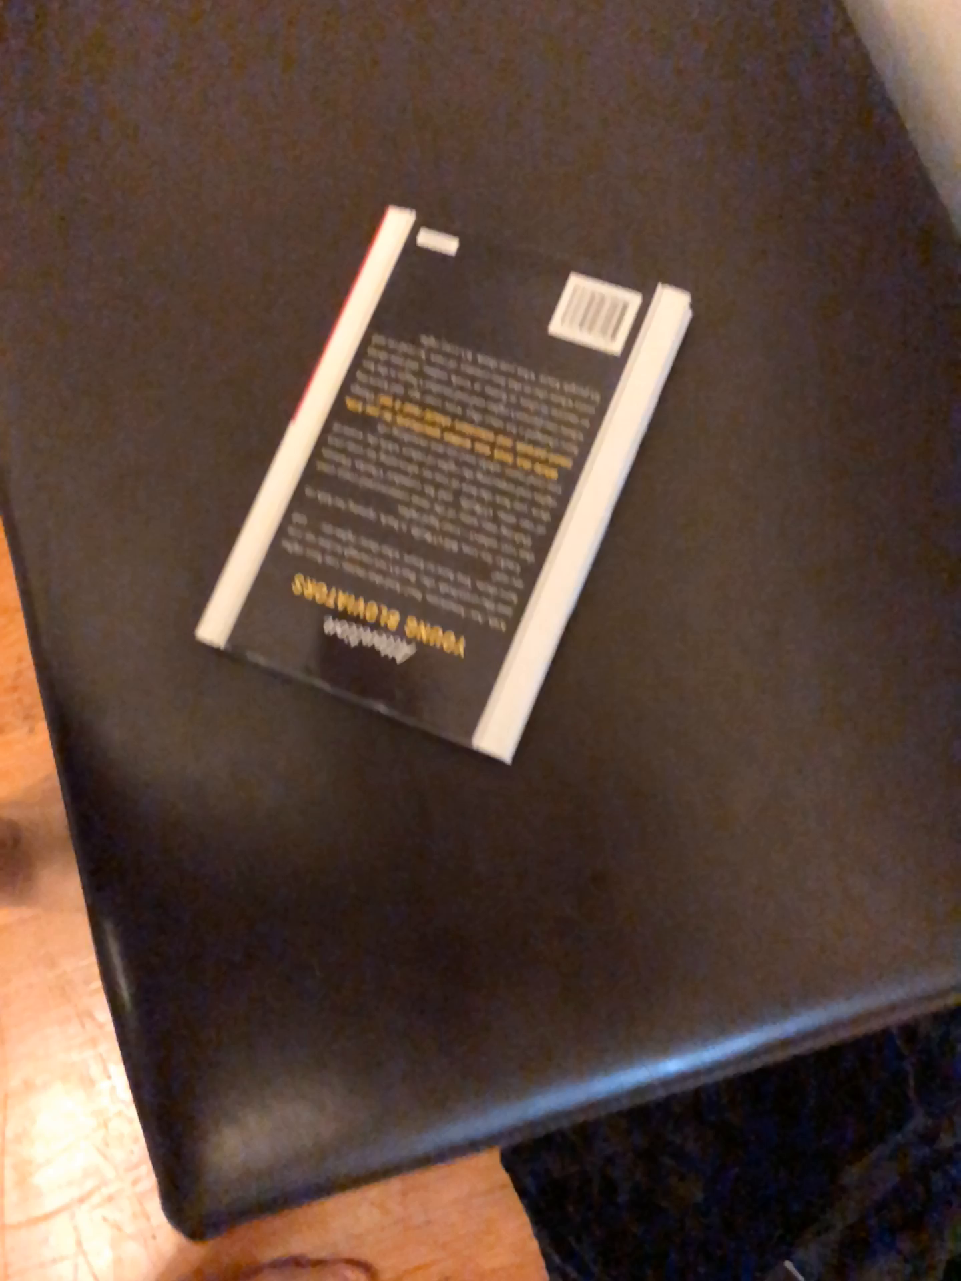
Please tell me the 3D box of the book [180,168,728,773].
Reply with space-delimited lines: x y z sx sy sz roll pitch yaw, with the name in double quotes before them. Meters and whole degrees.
"book" -0.010 -0.081 0.460 0.160 0.020 0.230 21 82 12
